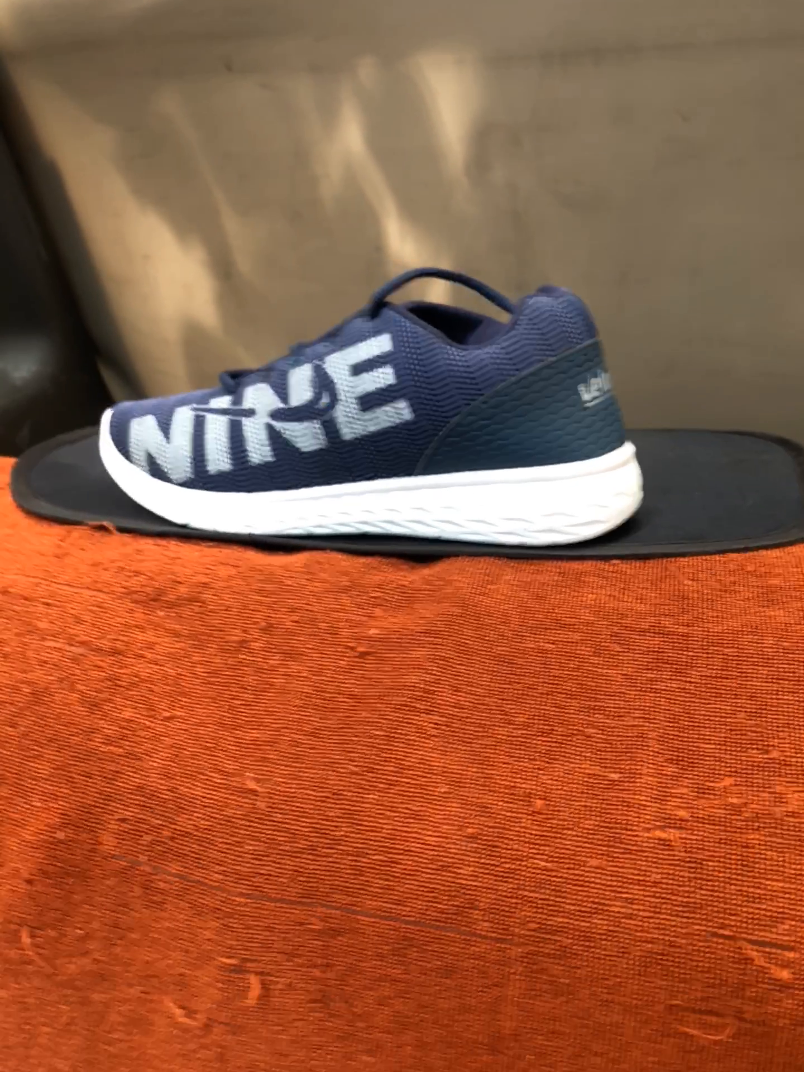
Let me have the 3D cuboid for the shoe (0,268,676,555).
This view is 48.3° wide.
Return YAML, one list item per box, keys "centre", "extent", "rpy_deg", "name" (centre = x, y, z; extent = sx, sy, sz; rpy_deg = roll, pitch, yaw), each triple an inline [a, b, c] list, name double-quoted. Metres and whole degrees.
- centre: [-0.026, -0.065, 0.426]
  extent: [0.290, 0.100, 0.131]
  rpy_deg: [2, 17, 20]
  name: "shoe"
